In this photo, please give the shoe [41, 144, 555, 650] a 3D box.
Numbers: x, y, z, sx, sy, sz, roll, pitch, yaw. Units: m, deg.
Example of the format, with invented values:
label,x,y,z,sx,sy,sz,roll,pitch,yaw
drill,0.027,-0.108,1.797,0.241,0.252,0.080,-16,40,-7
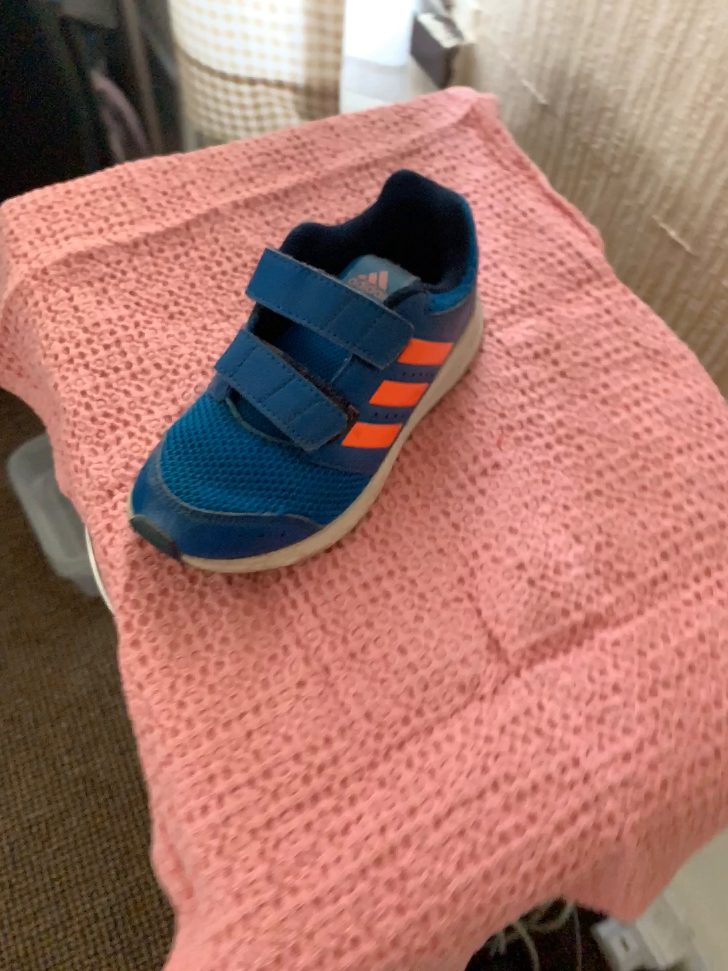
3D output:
label,x,y,z,sx,sy,sz,roll,pitch,yaw
shoe,-0.016,-0.046,0.325,0.084,0.075,0.208,34,64,17
